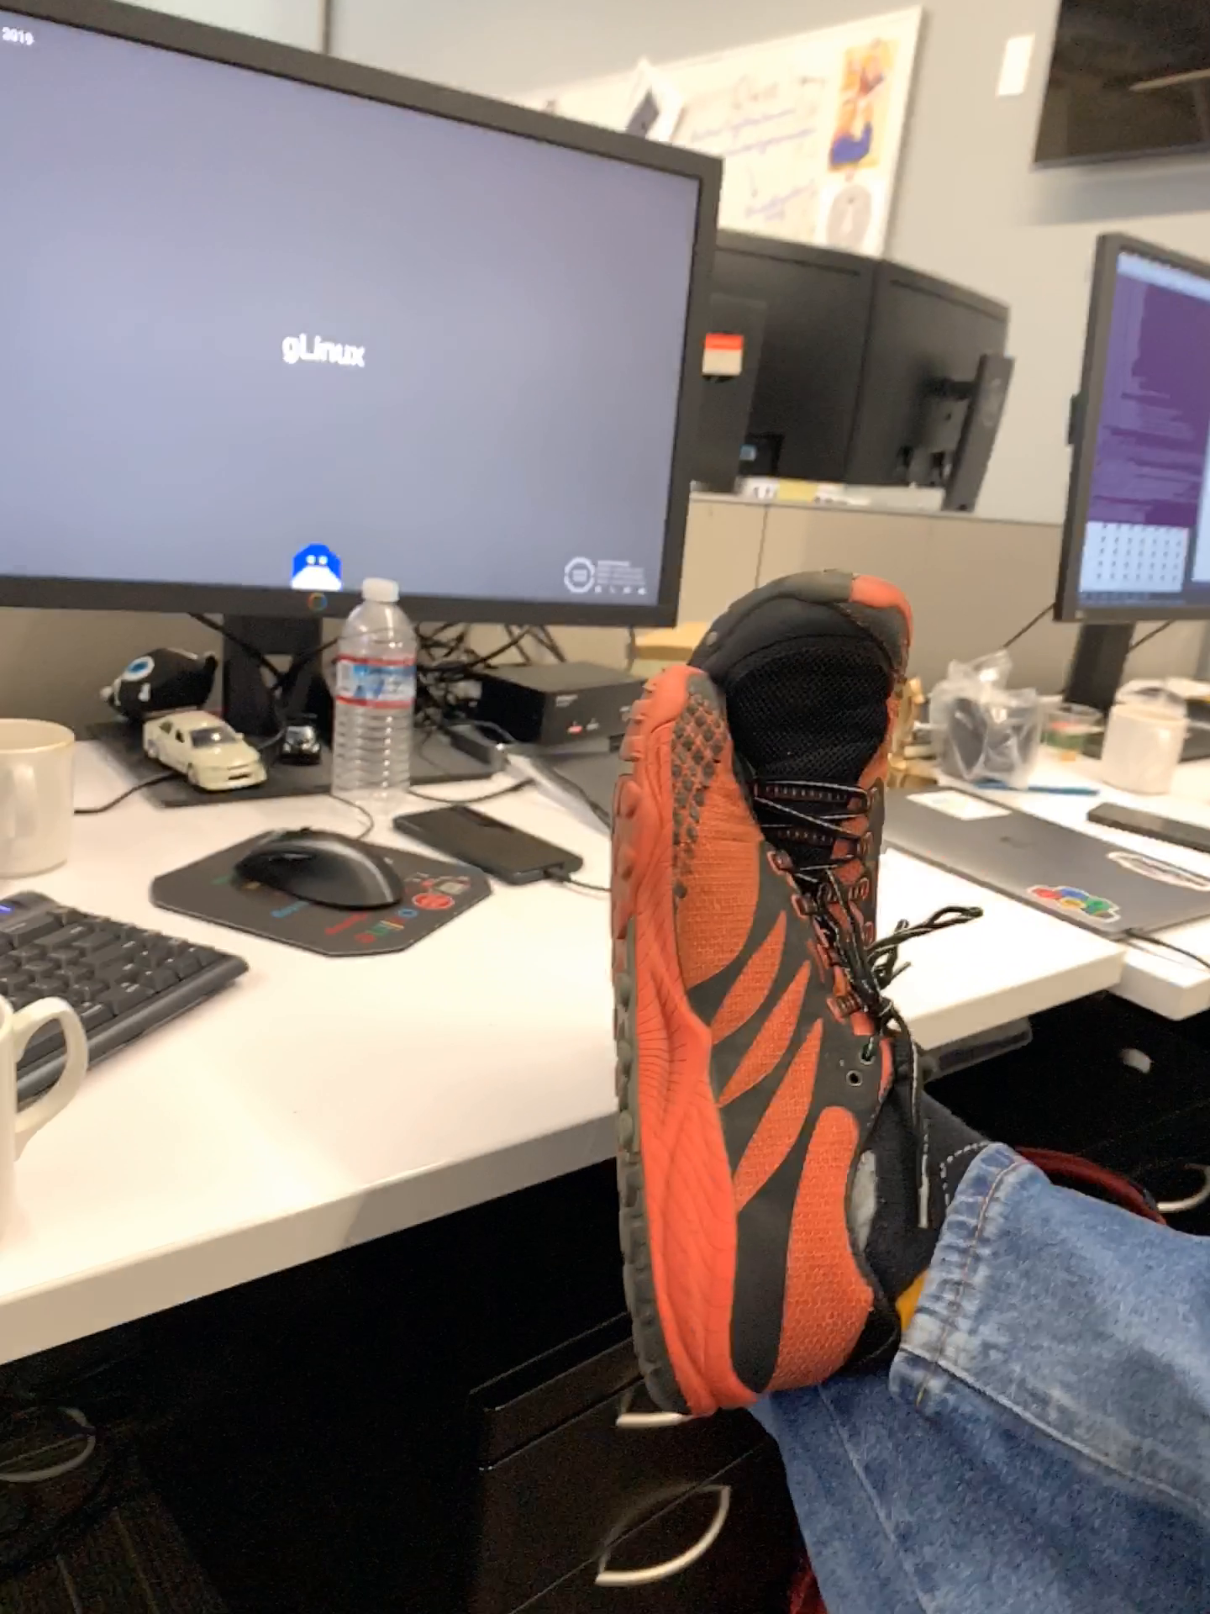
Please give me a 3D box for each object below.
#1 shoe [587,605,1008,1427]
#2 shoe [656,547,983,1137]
[{"bbox_3d":[0.069,0.076,0.496,0.132,0.290,0.091,4,-18,-4],"label":"shoe"},{"bbox_3d":[0.095,0.019,0.609,0.107,0.271,0.083,1,19,-7],"label":"shoe"}]
